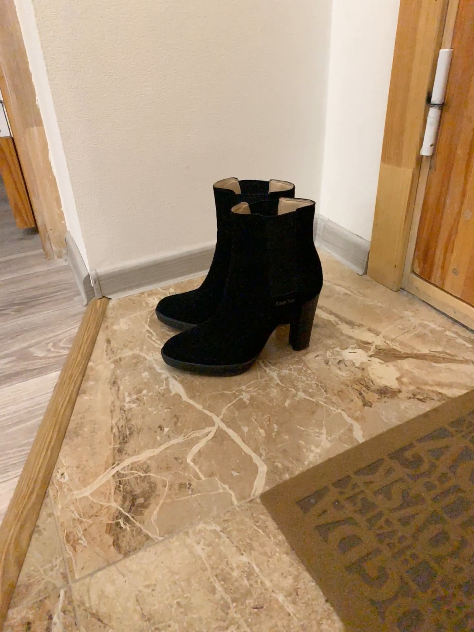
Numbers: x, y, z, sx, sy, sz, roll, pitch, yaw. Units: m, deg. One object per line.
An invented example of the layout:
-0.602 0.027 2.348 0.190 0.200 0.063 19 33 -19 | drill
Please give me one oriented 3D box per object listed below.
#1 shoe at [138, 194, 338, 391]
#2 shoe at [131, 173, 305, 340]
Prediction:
0.001 -0.030 0.611 0.214 0.198 0.087 -10 33 -12 | shoe
-0.024 -0.083 0.686 0.214 0.198 0.087 -5 32 -5 | shoe
